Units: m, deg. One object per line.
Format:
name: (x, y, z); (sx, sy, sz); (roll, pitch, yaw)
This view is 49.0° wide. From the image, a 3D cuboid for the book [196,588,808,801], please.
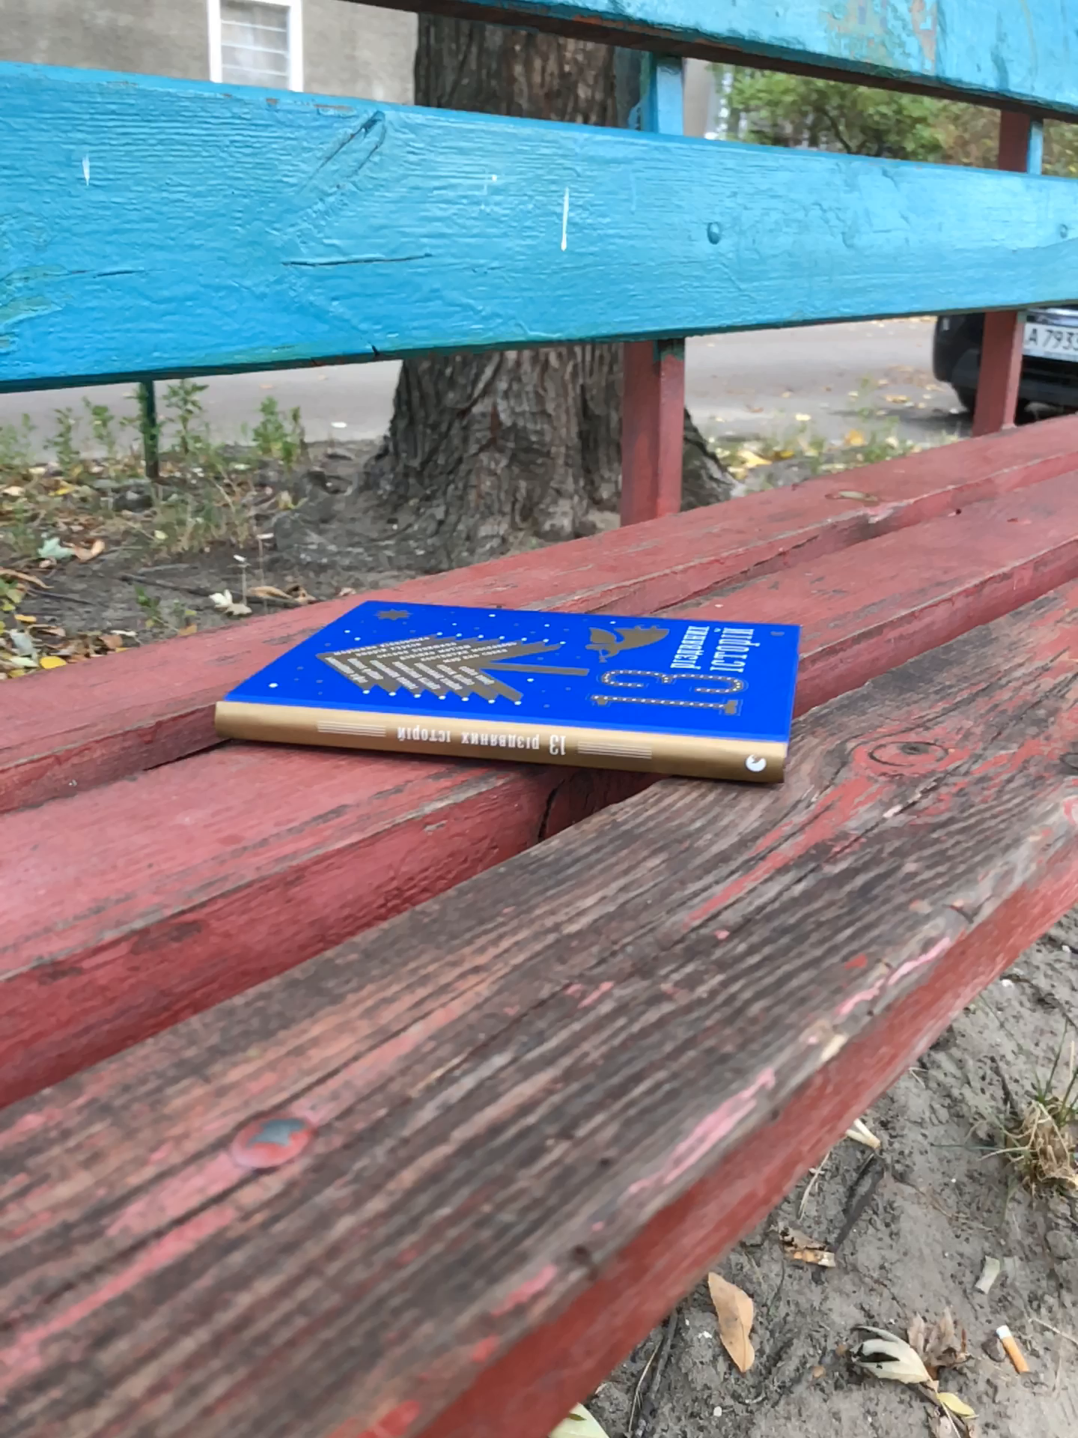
book: (-0.002, -0.018, 0.474); (0.212, 0.020, 0.156); (4, 21, 12)
